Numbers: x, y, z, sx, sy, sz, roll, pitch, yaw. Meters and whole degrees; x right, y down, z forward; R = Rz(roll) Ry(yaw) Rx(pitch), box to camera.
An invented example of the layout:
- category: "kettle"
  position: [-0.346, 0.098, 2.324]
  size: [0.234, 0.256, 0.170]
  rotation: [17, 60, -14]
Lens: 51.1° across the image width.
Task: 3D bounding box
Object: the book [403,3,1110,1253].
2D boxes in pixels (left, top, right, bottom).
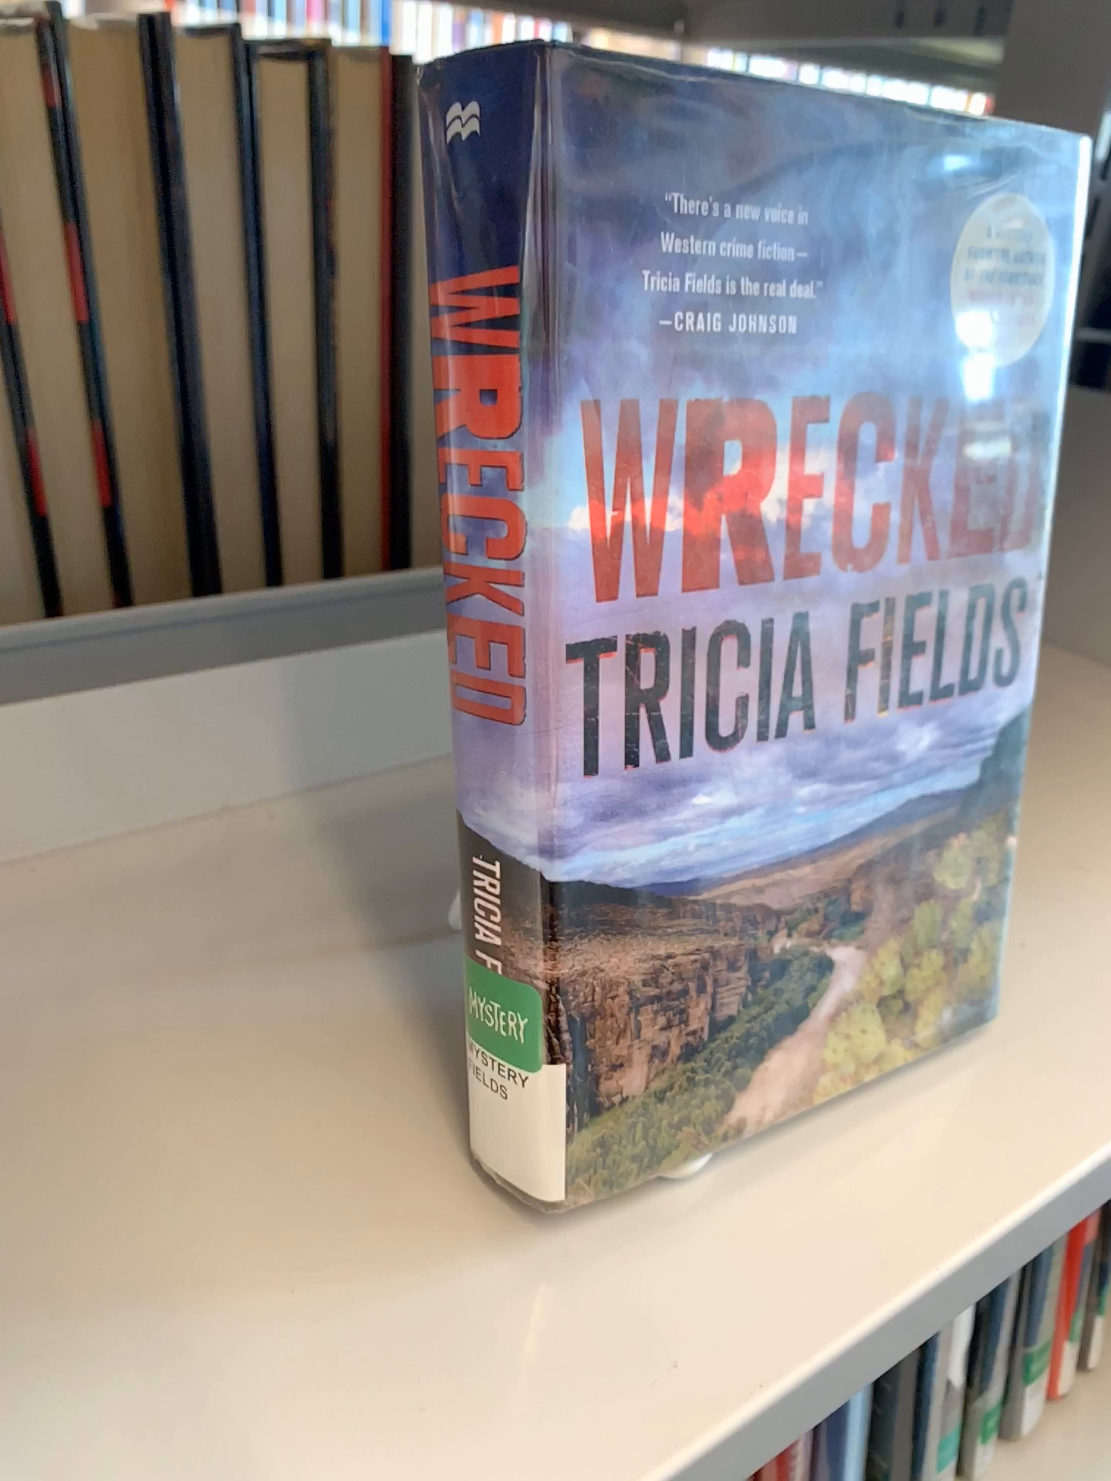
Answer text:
- category: "book"
  position: [0.050, -0.020, 0.239]
  size: [0.150, 0.202, 0.040]
  rotation: [-12, 21, -31]
